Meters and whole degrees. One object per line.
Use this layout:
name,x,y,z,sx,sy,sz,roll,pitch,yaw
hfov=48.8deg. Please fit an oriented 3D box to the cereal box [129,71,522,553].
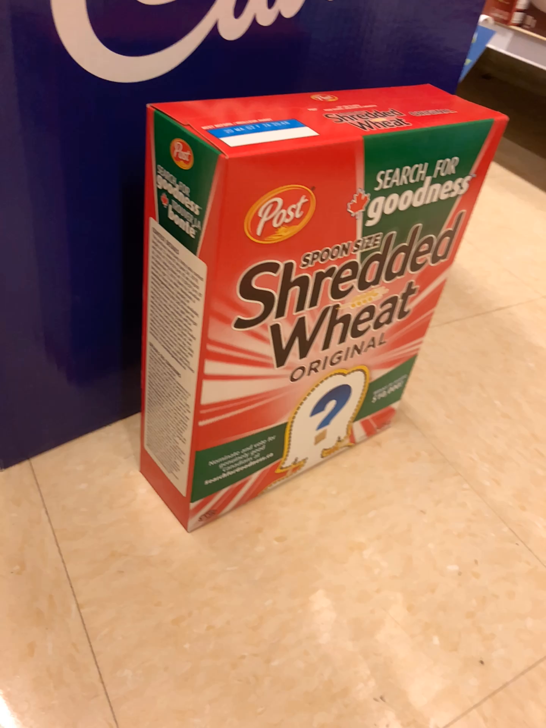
cereal box,0.020,-0.031,0.390,0.211,0.268,0.070,-22,50,-33
